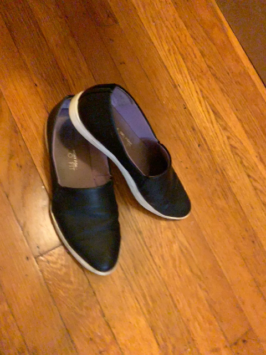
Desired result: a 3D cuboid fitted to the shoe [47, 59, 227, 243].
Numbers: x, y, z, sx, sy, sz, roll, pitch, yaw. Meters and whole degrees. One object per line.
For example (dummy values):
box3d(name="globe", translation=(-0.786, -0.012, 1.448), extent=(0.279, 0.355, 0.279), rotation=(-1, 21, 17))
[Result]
box3d(name="shoe", translation=(0.021, -0.020, 0.389), extent=(0.250, 0.080, 0.100), rotation=(43, 64, -28))

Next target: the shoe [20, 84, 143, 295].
box3d(name="shoe", translation=(-0.080, 0.009, 0.386), extent=(0.100, 0.080, 0.260), rotation=(-11, 79, -23))
